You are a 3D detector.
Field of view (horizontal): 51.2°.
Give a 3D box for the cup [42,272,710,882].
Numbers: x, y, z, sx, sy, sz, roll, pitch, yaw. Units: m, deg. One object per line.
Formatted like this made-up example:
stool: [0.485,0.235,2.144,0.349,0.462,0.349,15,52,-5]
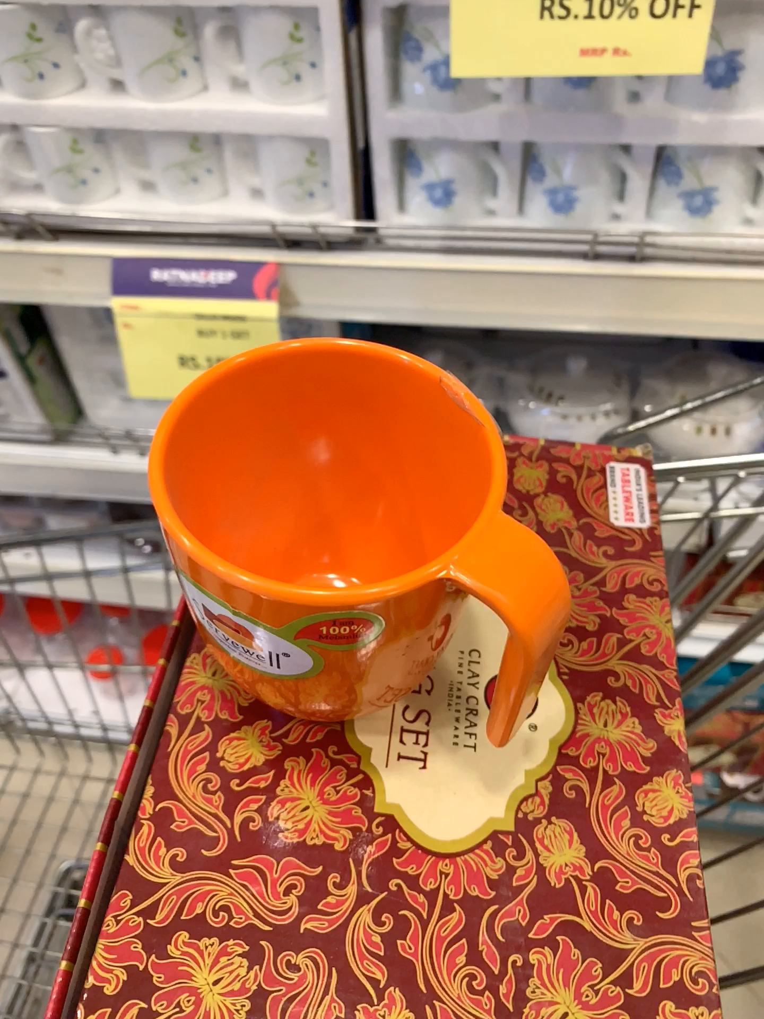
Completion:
cup: [0.000,0.012,0.190,0.110,0.070,0.080,27,56,18]
